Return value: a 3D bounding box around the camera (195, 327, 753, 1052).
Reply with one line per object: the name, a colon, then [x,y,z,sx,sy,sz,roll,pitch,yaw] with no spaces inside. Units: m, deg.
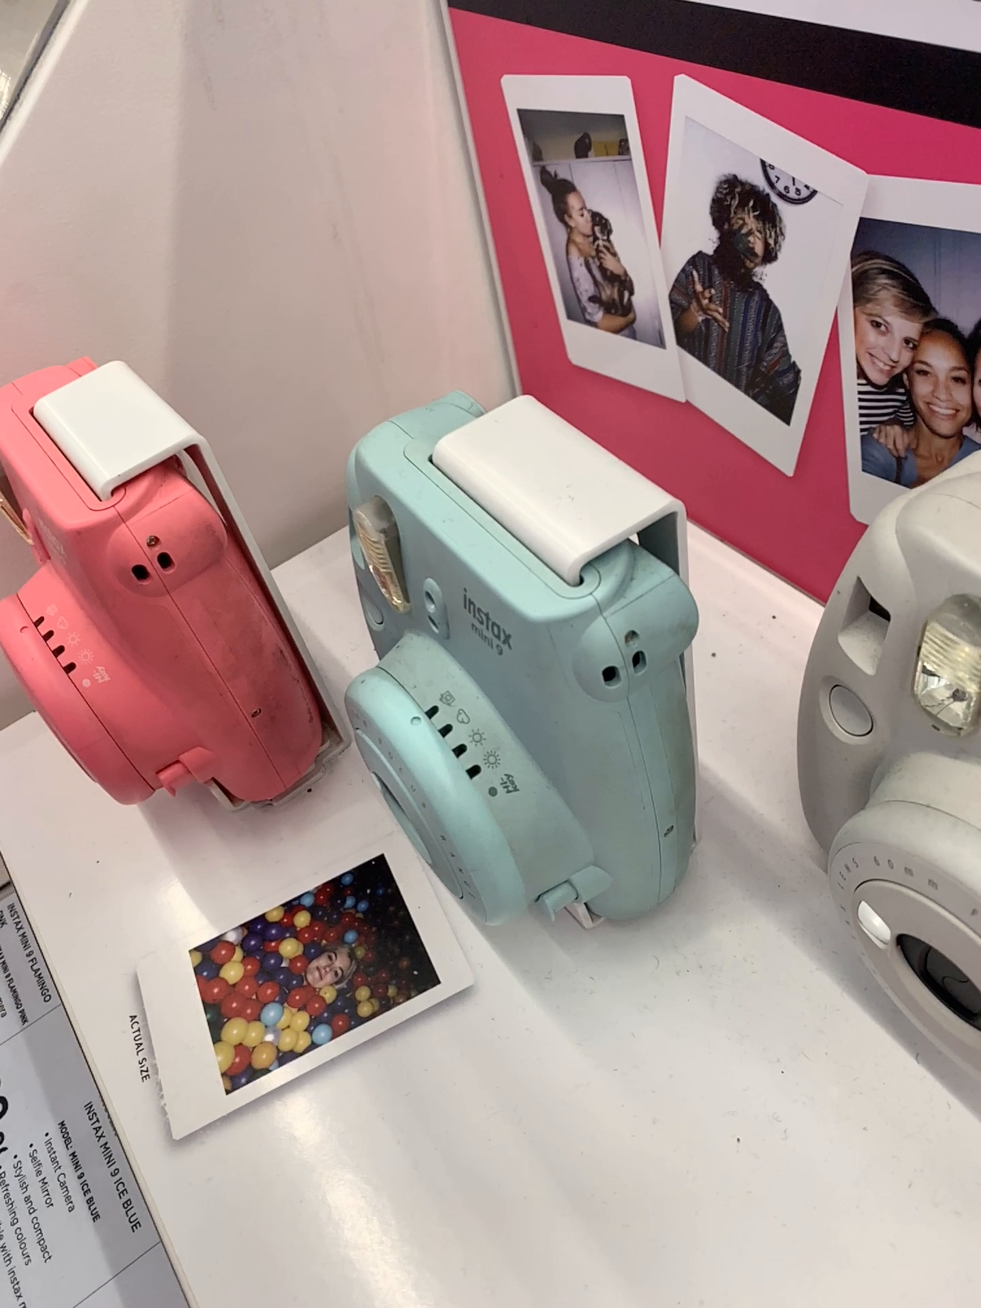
camera: [0.001,0.010,0.255,0.070,0.129,0.111,-30,48,-14]
